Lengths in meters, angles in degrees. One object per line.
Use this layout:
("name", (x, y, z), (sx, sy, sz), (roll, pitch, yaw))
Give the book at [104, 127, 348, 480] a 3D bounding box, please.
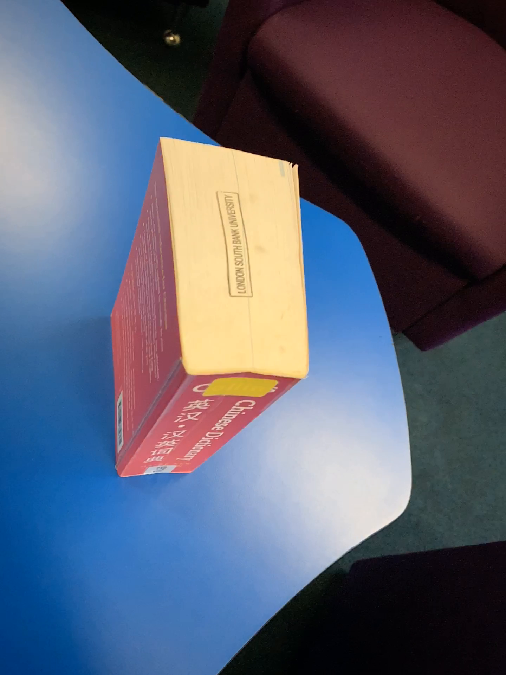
("book", (-0.040, -0.002, 0.339), (0.080, 0.199, 0.141), (3, 63, -24))
